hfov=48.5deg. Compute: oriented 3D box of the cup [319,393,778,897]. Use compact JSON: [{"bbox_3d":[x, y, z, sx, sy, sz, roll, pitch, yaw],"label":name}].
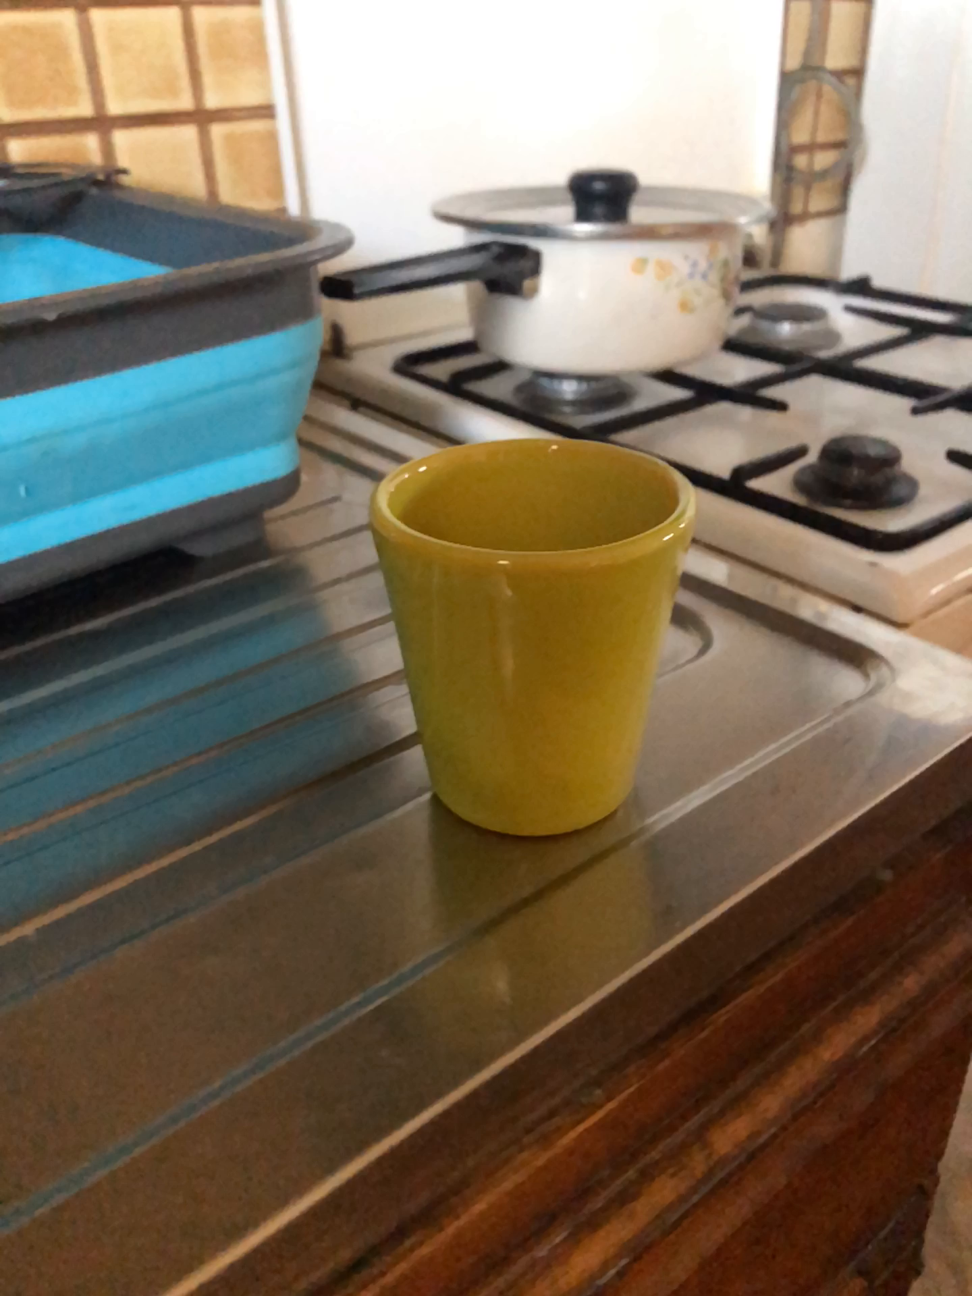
[{"bbox_3d":[0.015,-0.007,0.287,0.080,0.089,0.080,-1,29,1],"label":"cup"}]
